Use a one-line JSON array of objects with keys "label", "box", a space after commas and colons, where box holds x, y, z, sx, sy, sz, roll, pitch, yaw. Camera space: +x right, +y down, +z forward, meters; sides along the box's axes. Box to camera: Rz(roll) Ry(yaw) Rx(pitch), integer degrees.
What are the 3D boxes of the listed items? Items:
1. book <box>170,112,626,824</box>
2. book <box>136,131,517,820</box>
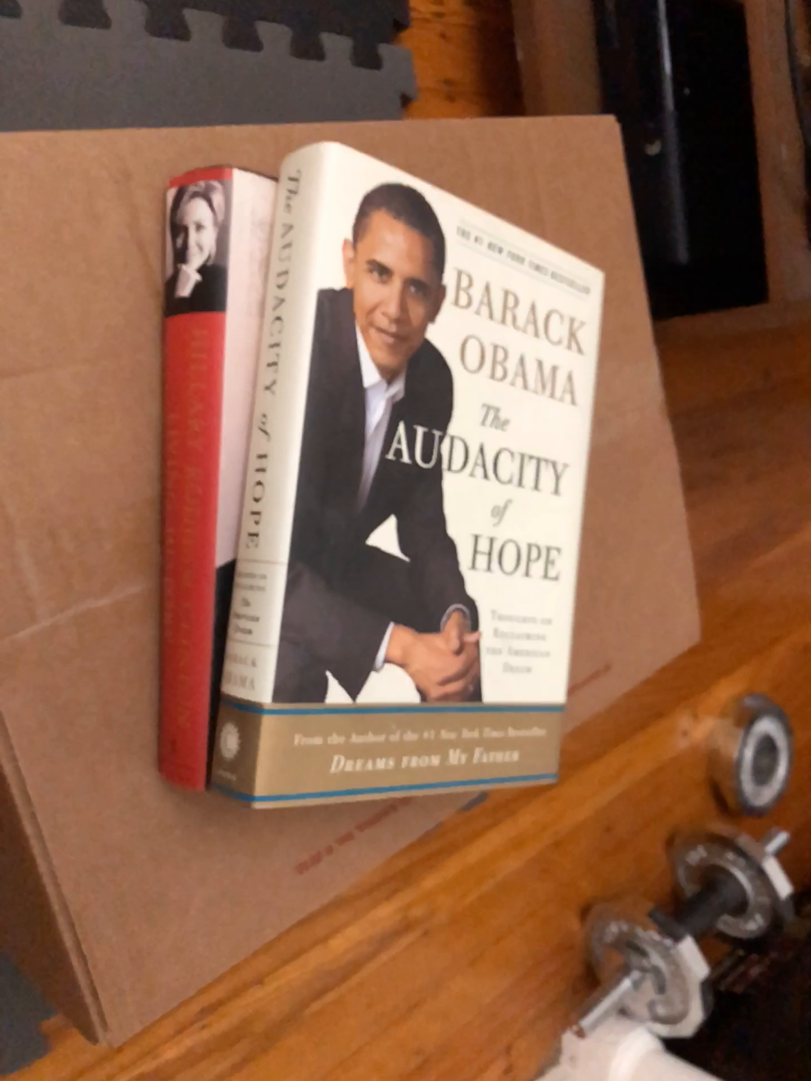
[{"label": "book", "box": [0.010, -0.018, 0.392, 0.191, 0.040, 0.250, 9, 86, -40]}, {"label": "book", "box": [-0.027, -0.023, 0.400, 0.171, 0.040, 0.250, 0, 91, -41]}]
